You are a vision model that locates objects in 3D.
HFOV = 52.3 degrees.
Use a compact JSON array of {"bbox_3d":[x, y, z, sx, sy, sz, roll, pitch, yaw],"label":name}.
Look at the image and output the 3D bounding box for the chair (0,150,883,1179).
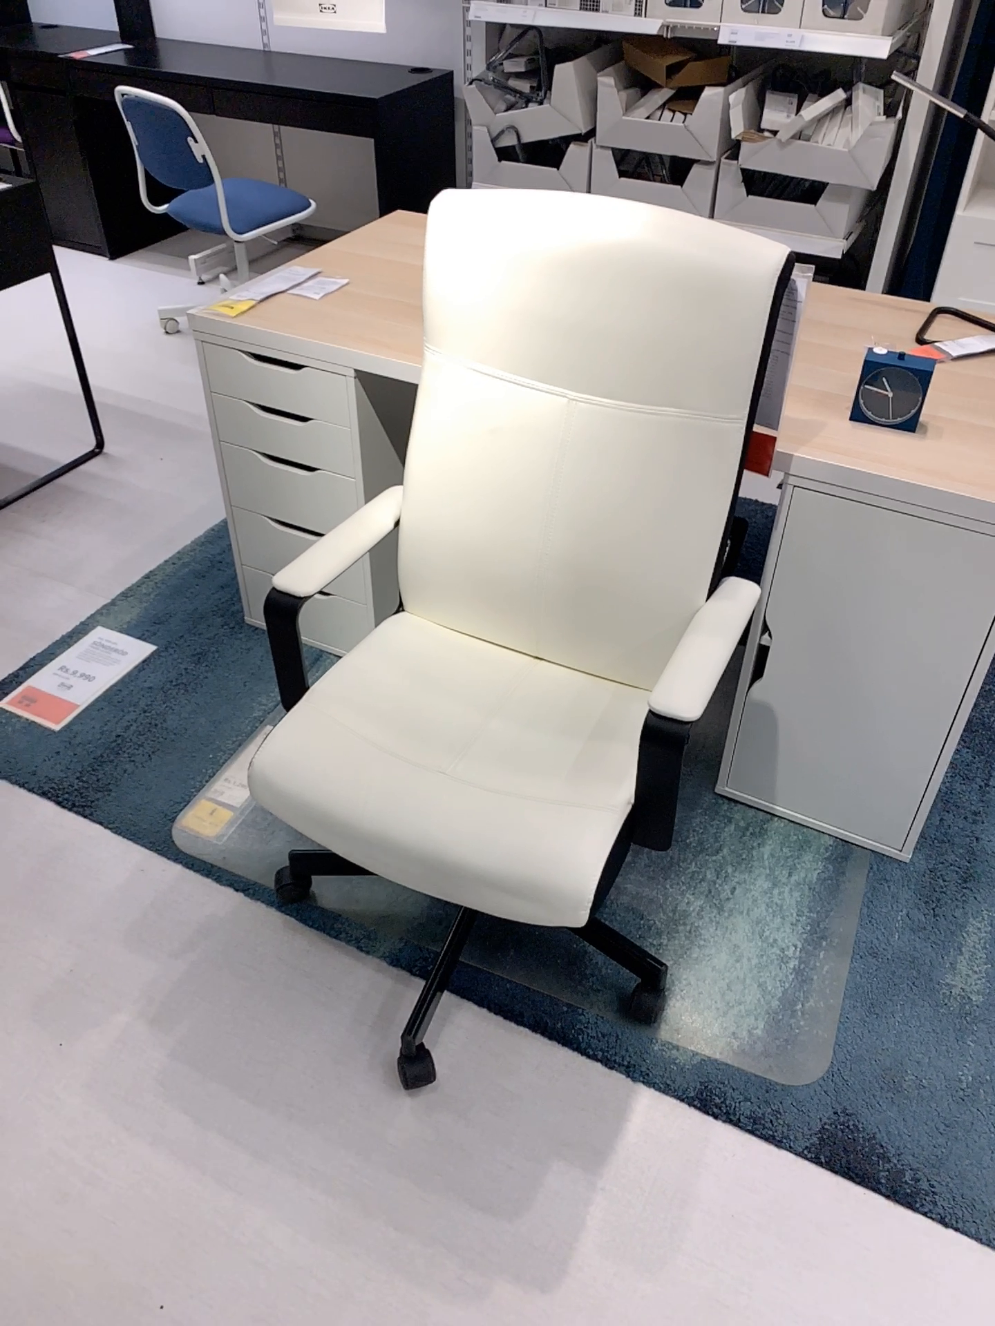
[{"bbox_3d":[-0.037,-0.029,1.317,0.691,0.956,0.702,18,42,20],"label":"chair"}]
